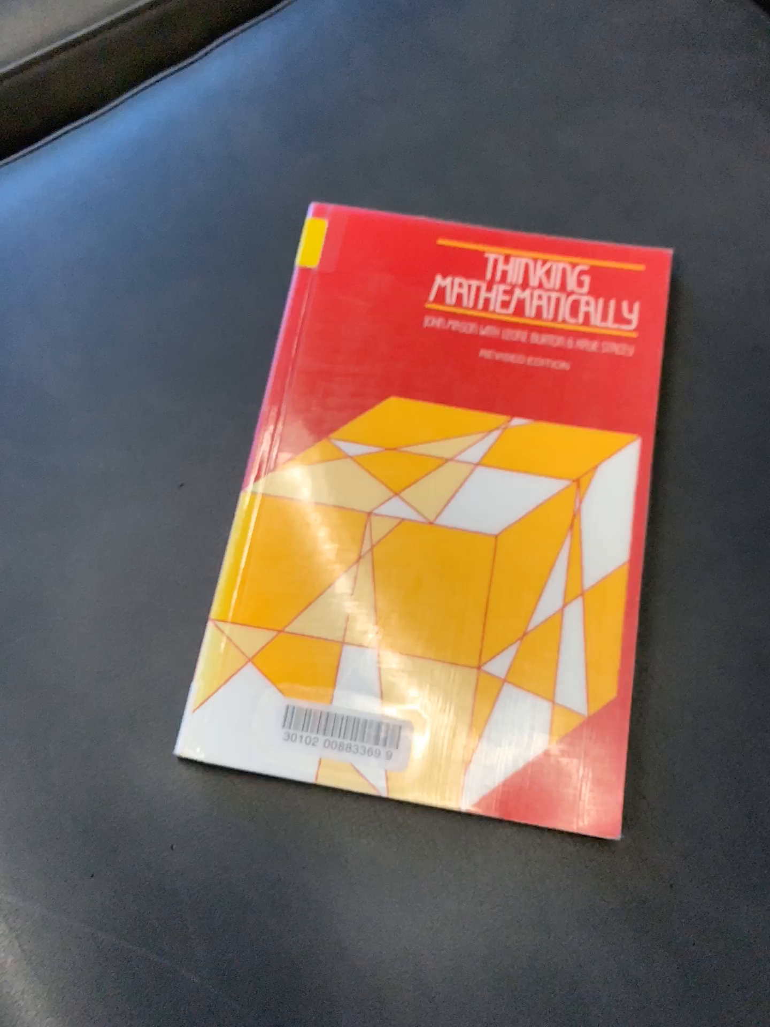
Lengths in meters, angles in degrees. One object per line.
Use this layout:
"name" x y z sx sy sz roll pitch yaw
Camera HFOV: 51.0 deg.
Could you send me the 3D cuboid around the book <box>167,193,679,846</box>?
"book" 0.023 -0.011 0.309 0.156 0.016 0.232 9 73 4
